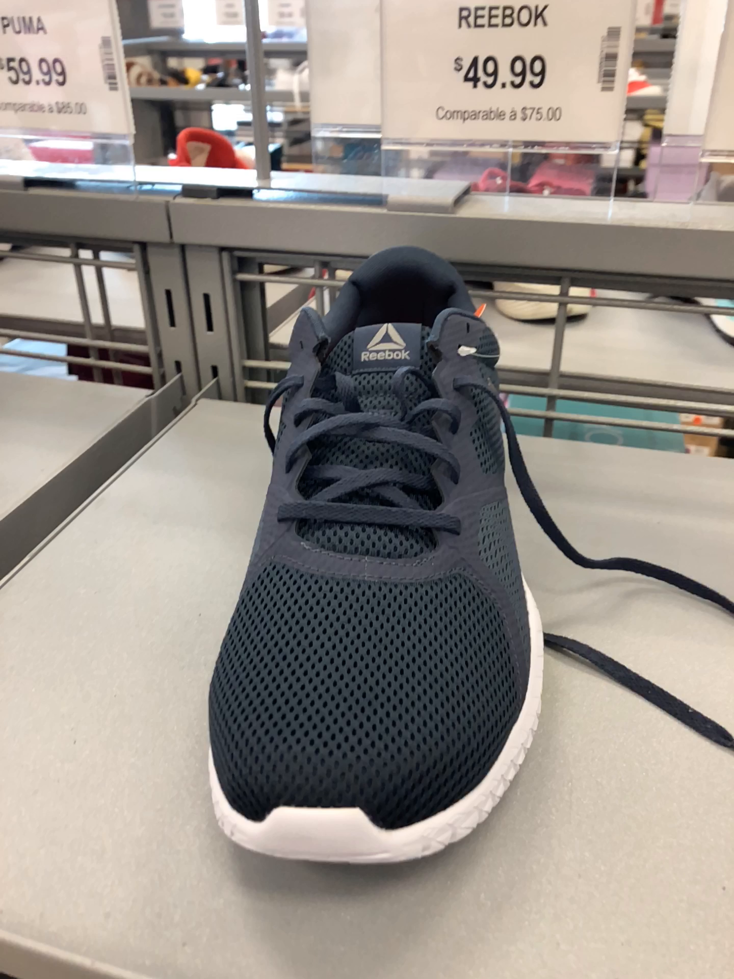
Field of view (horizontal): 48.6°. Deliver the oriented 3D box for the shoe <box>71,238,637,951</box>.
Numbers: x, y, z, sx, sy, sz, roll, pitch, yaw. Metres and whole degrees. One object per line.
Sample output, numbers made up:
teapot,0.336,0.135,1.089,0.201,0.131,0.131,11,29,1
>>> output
shoe,0.017,-0.009,0.335,0.120,0.109,0.322,4,30,7
